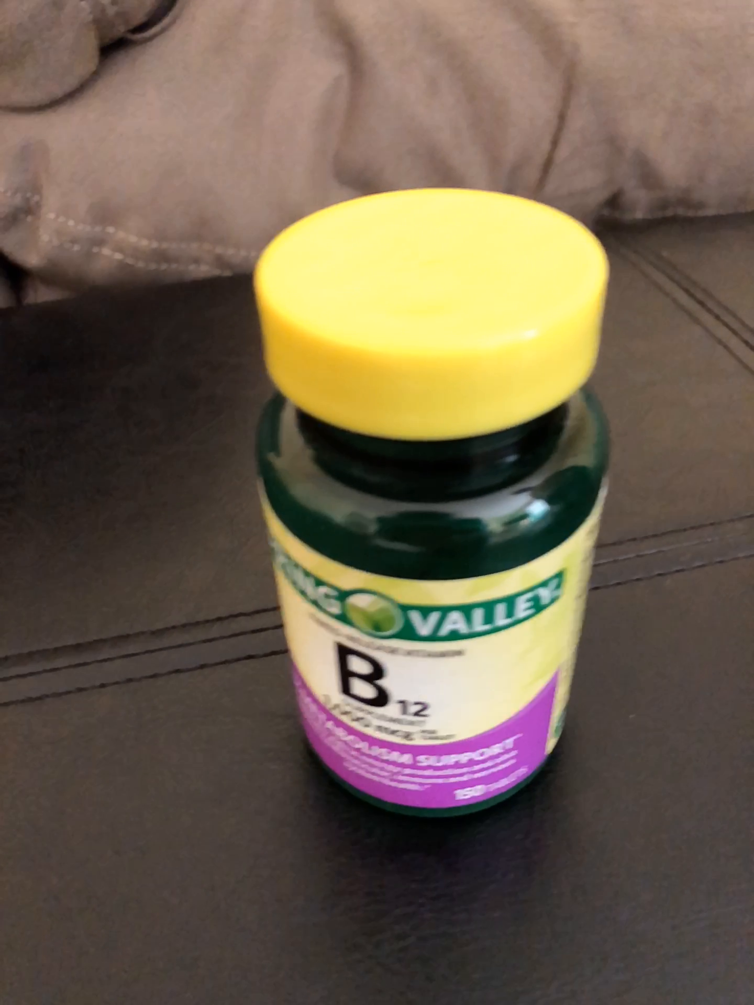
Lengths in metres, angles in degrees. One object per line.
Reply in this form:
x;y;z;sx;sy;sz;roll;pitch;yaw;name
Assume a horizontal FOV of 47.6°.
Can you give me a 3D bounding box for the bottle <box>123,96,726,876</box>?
0.010;-0.001;0.121;0.050;0.090;0.050;-2;40;2;bottle
